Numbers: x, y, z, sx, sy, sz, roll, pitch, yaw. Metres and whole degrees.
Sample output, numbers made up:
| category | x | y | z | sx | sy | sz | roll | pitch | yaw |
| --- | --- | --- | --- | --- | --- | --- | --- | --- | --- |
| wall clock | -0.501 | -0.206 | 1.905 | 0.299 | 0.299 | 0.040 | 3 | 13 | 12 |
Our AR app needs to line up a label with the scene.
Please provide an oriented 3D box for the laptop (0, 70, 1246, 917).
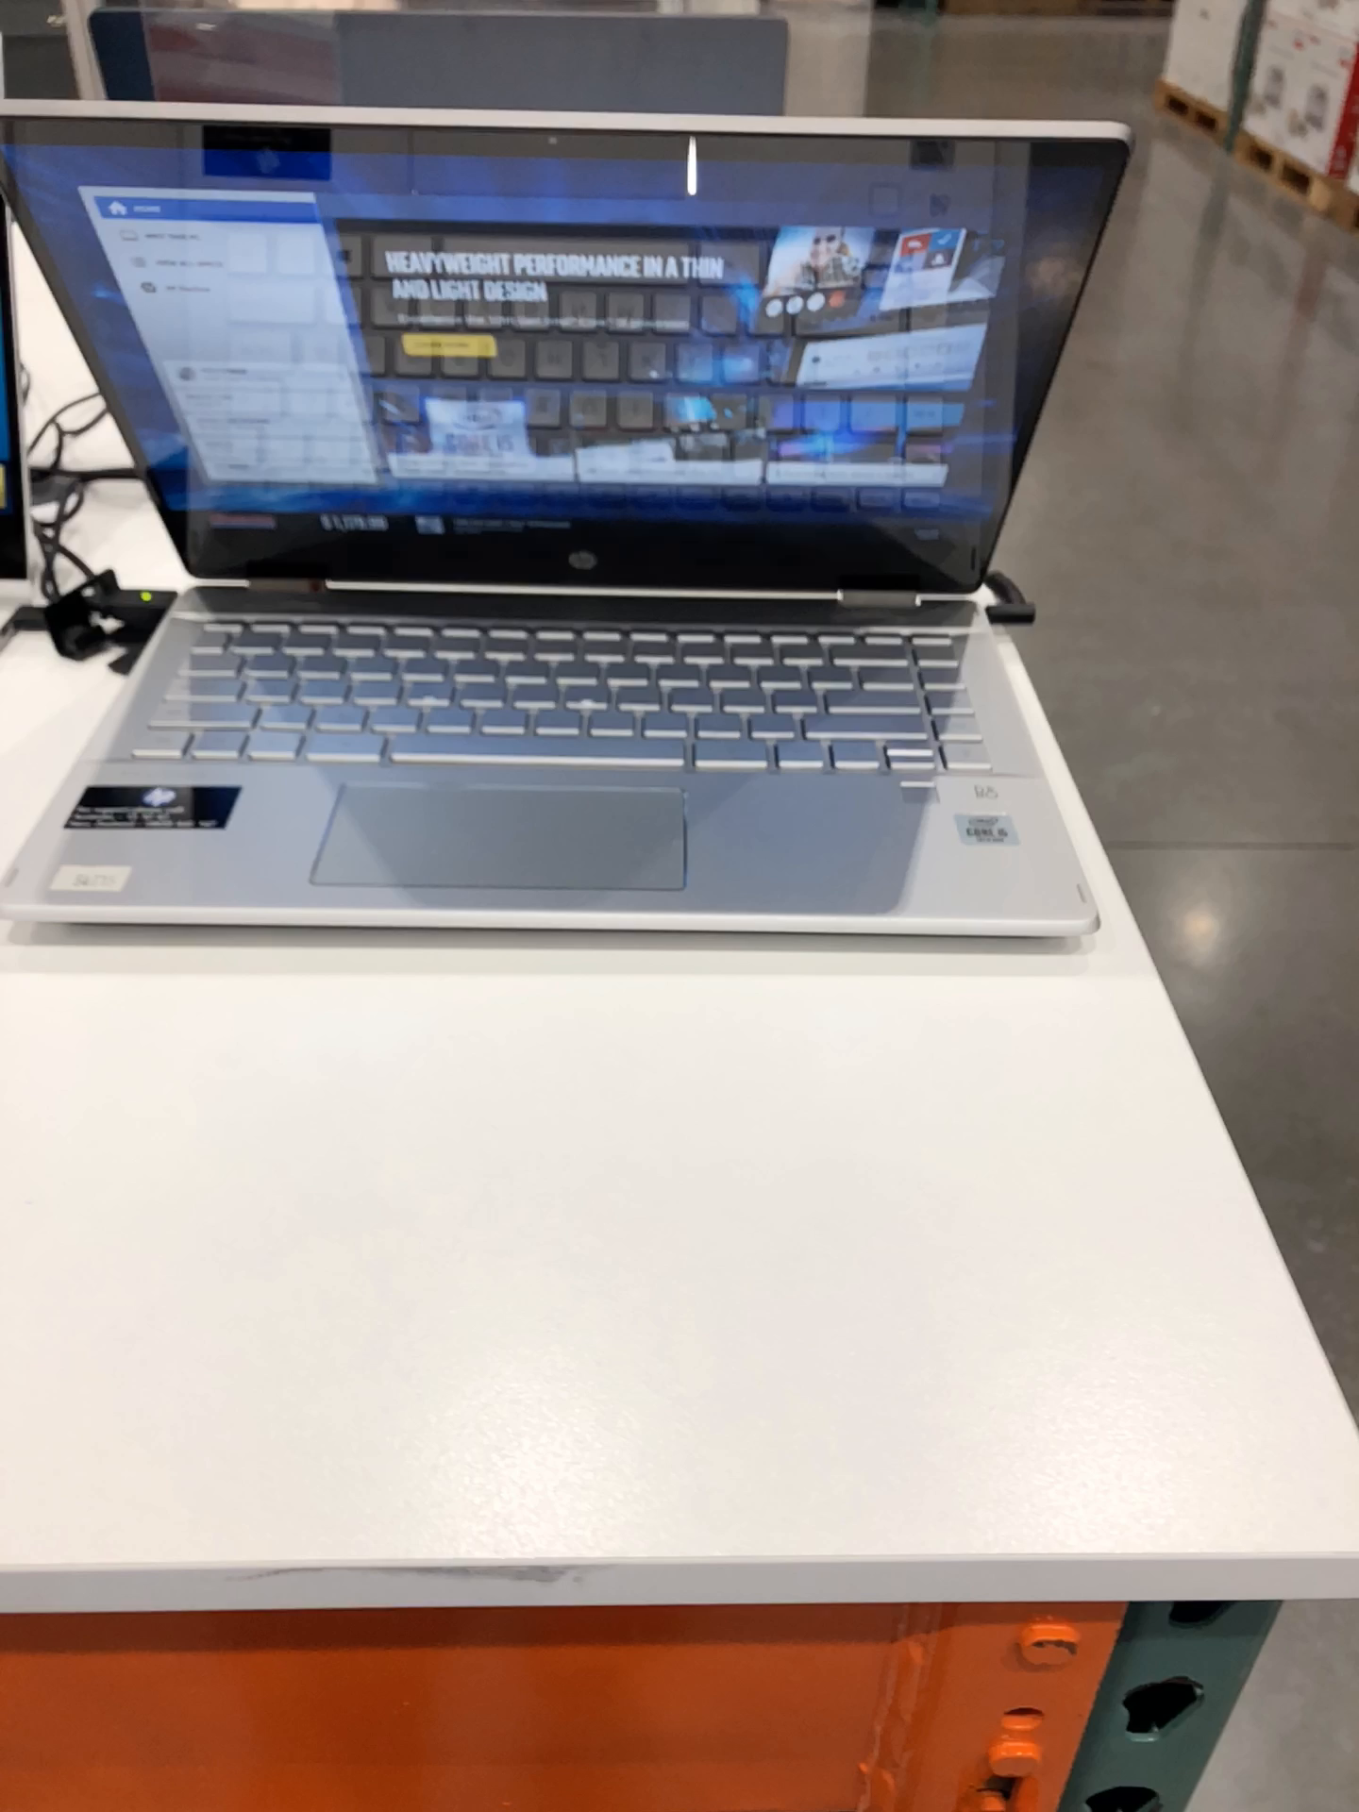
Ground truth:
| category | x | y | z | sx | sy | sz | roll | pitch | yaw |
| --- | --- | --- | --- | --- | --- | --- | --- | --- | --- |
| laptop | -0.038 | -0.135 | 0.462 | 0.317 | 0.185 | 0.207 | 1 | 36 | 1 |
